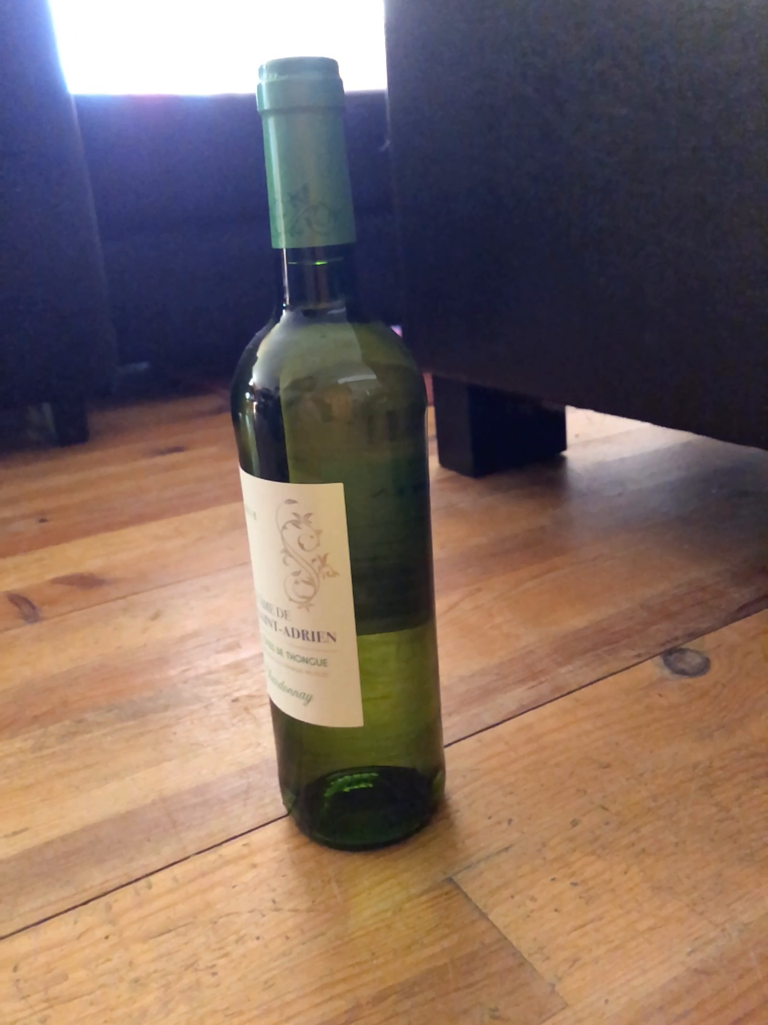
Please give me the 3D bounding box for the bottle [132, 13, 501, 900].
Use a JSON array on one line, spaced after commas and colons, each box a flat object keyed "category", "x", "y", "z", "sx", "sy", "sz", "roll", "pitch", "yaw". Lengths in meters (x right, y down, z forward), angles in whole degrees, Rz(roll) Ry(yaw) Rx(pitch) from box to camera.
[{"category": "bottle", "x": -0.015, "y": -0.012, "z": 0.329, "sx": 0.080, "sy": 0.299, "sz": 0.080, "roll": -4, "pitch": 19, "yaw": 1}]
